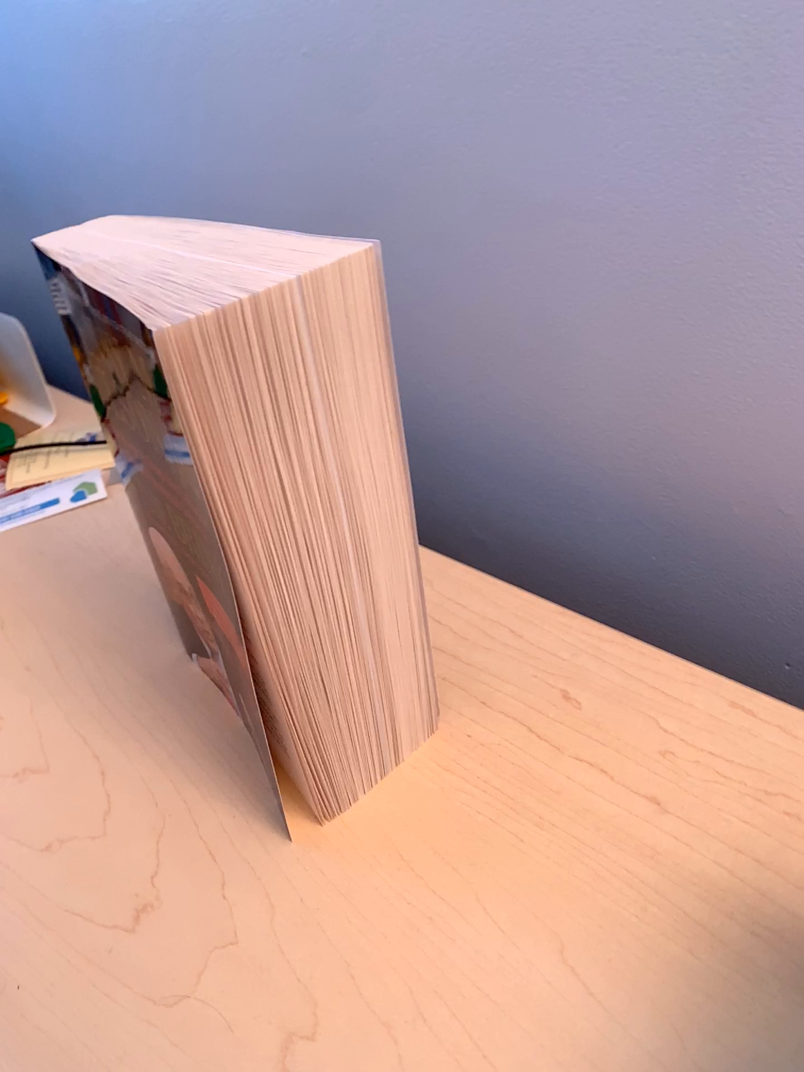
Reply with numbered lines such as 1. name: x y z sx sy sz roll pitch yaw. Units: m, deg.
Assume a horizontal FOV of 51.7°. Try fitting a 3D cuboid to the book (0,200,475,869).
1. book: -0.066 -0.006 0.351 0.082 0.228 0.168 -31 39 -31
